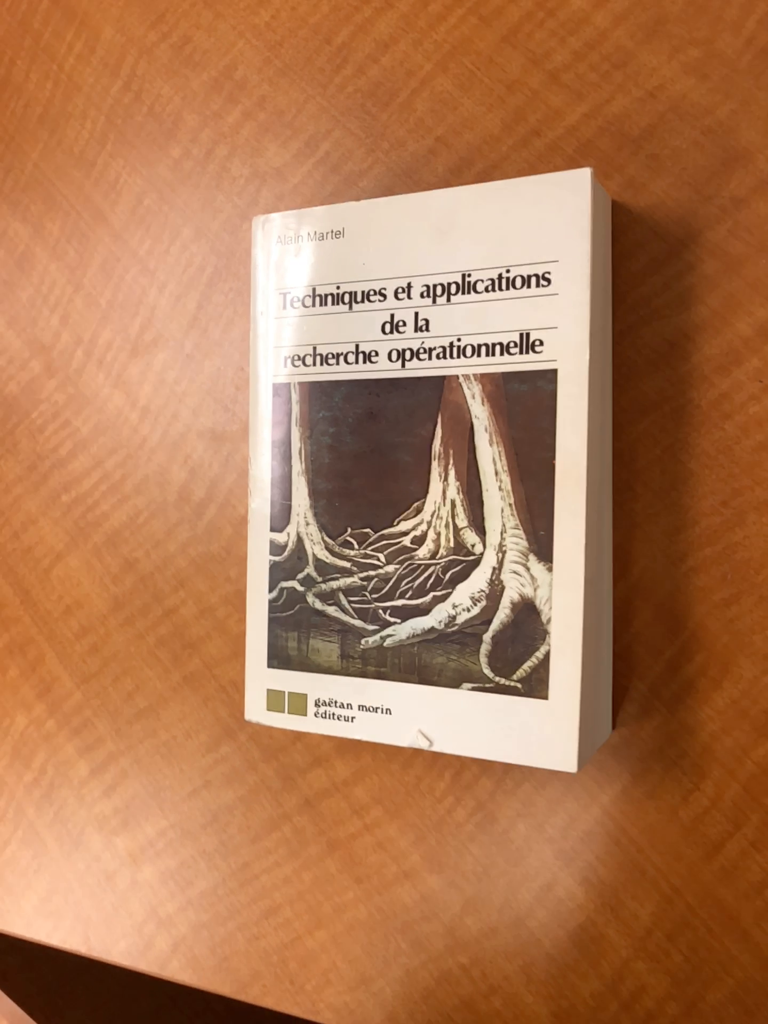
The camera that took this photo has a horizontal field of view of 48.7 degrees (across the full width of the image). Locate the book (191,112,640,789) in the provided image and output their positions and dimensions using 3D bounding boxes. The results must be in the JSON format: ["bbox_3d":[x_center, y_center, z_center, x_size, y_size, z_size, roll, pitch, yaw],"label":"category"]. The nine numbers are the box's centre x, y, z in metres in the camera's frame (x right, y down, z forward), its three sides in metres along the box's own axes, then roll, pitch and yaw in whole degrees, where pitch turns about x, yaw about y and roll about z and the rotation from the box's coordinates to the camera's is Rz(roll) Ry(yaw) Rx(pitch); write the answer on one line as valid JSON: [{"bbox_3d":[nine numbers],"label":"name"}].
[{"bbox_3d":[0.013,-0.022,0.356,0.170,0.070,0.230,1,90,25],"label":"book"}]
